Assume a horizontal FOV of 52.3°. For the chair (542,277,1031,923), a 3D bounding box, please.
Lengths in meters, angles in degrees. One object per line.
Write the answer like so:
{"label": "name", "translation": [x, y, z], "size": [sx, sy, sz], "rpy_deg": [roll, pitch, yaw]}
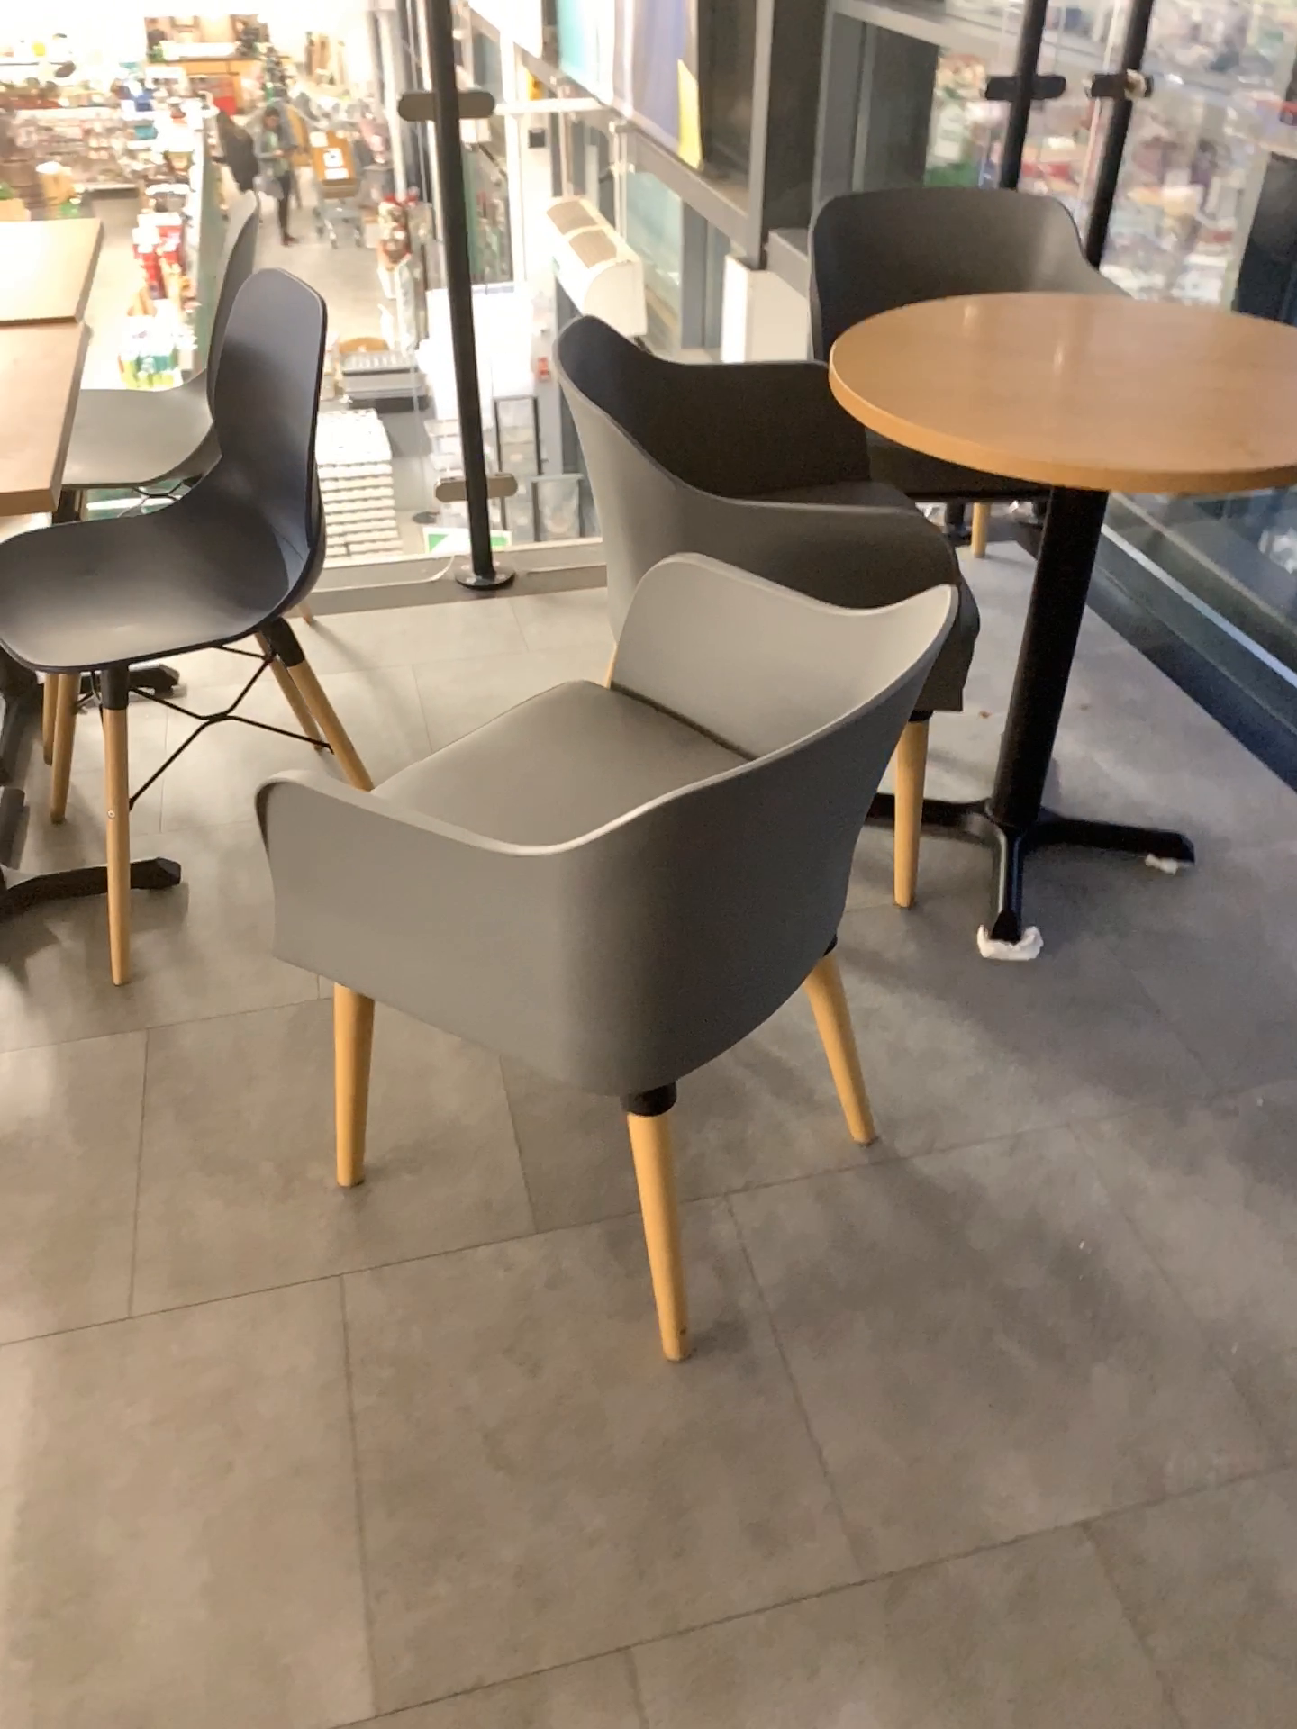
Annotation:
{"label": "chair", "translation": [0.139, -0.374, 1.871], "size": [0.540, 0.725, 0.518], "rpy_deg": [-2, 38, -3]}

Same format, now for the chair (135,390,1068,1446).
{"label": "chair", "translation": [-0.033, 0.020, 1.347], "size": [0.582, 0.734, 0.547], "rpy_deg": [25, 44, 28]}

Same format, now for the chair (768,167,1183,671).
{"label": "chair", "translation": [0.546, -0.841, 2.471], "size": [0.483, 0.725, 0.585], "rpy_deg": [-5, 37, -7]}

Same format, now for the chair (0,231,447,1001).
{"label": "chair", "translation": [-0.631, -0.340, 1.753], "size": [0.511, 0.784, 0.477], "rpy_deg": [-20, 42, -26]}
